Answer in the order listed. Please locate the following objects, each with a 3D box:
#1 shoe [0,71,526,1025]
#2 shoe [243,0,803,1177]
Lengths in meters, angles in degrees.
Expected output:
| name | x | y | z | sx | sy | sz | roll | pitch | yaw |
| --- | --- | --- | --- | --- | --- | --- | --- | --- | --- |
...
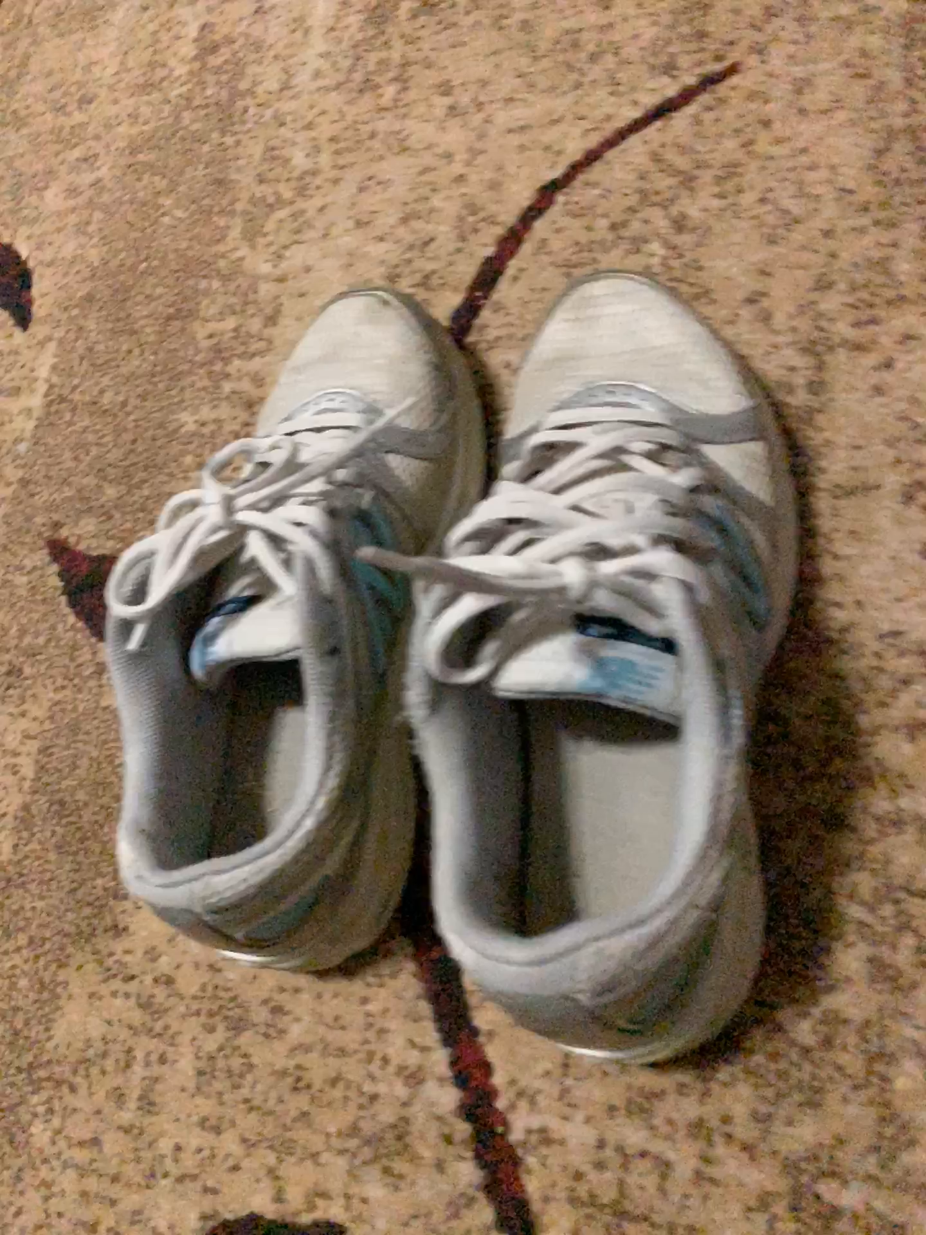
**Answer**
| name | x | y | z | sx | sy | sz | roll | pitch | yaw |
| --- | --- | --- | --- | --- | --- | --- | --- | --- | --- |
| shoe | -0.067 | -0.020 | 0.335 | 0.111 | 0.124 | 0.283 | 0 | 70 | 25 |
| shoe | 0.039 | -0.015 | 0.283 | 0.104 | 0.124 | 0.283 | -2 | 69 | 24 |
